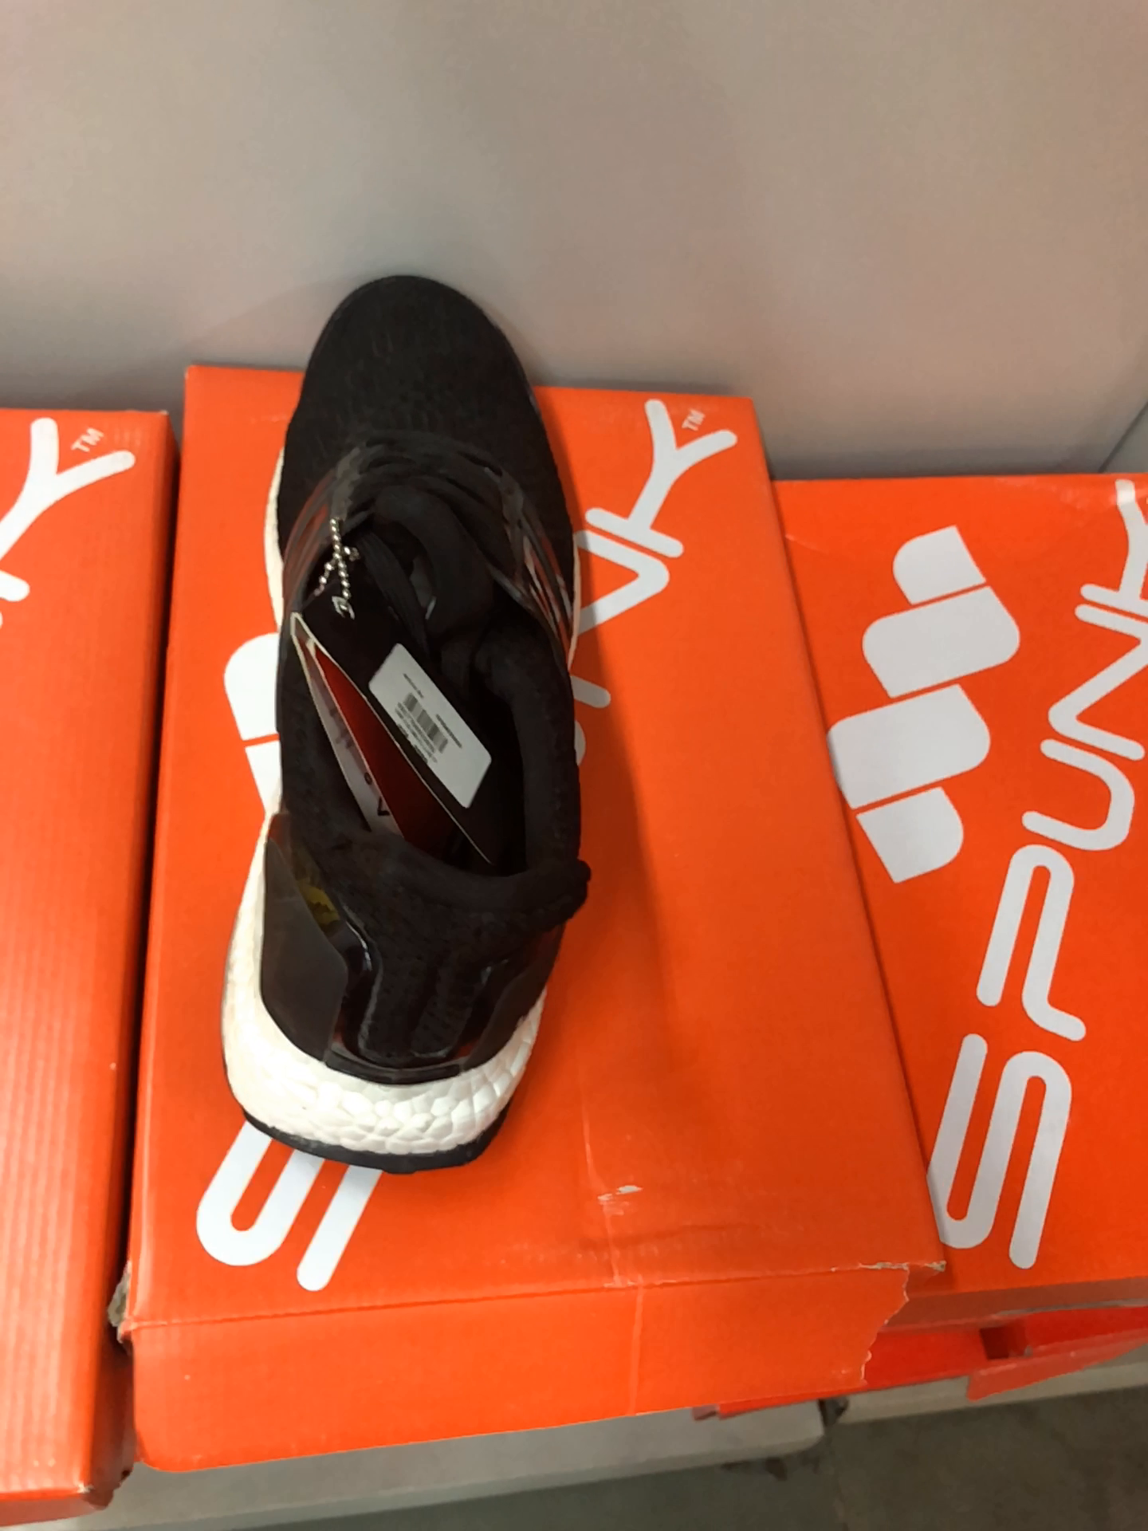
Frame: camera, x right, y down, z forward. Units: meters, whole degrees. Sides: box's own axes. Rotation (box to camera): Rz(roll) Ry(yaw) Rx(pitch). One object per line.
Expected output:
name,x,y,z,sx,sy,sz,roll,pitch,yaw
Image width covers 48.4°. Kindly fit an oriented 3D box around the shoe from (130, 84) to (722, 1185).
shoe,-0.038,-0.041,0.372,0.117,0.120,0.290,6,61,-10
